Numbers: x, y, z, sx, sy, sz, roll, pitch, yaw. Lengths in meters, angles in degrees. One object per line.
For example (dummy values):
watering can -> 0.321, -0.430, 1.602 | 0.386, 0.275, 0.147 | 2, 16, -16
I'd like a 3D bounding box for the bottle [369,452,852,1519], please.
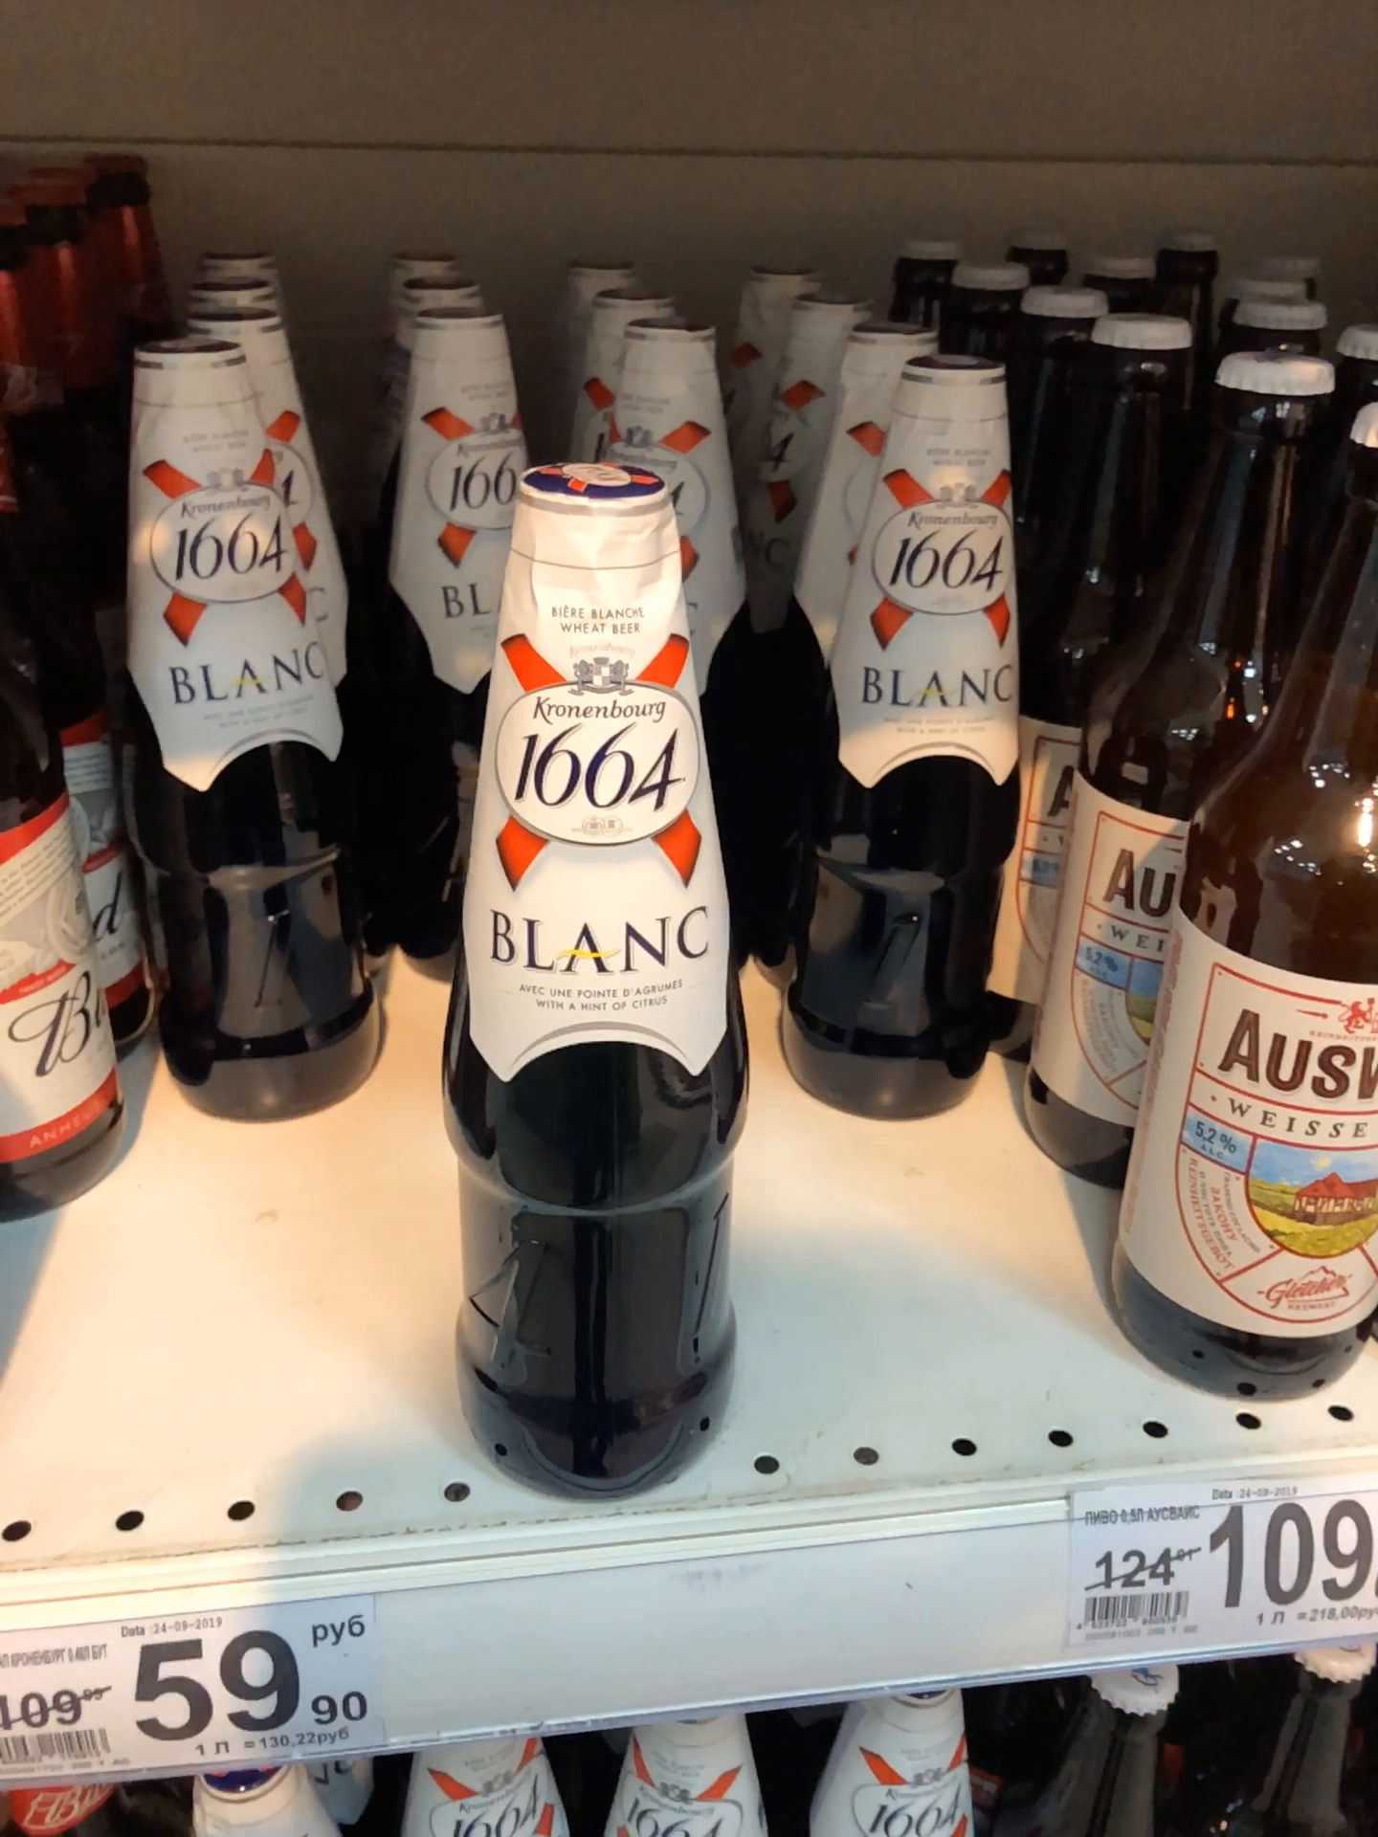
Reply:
bottle -> -0.017, 0.024, 0.340 | 0.080, 0.234, 0.070 | 0, 29, -3
